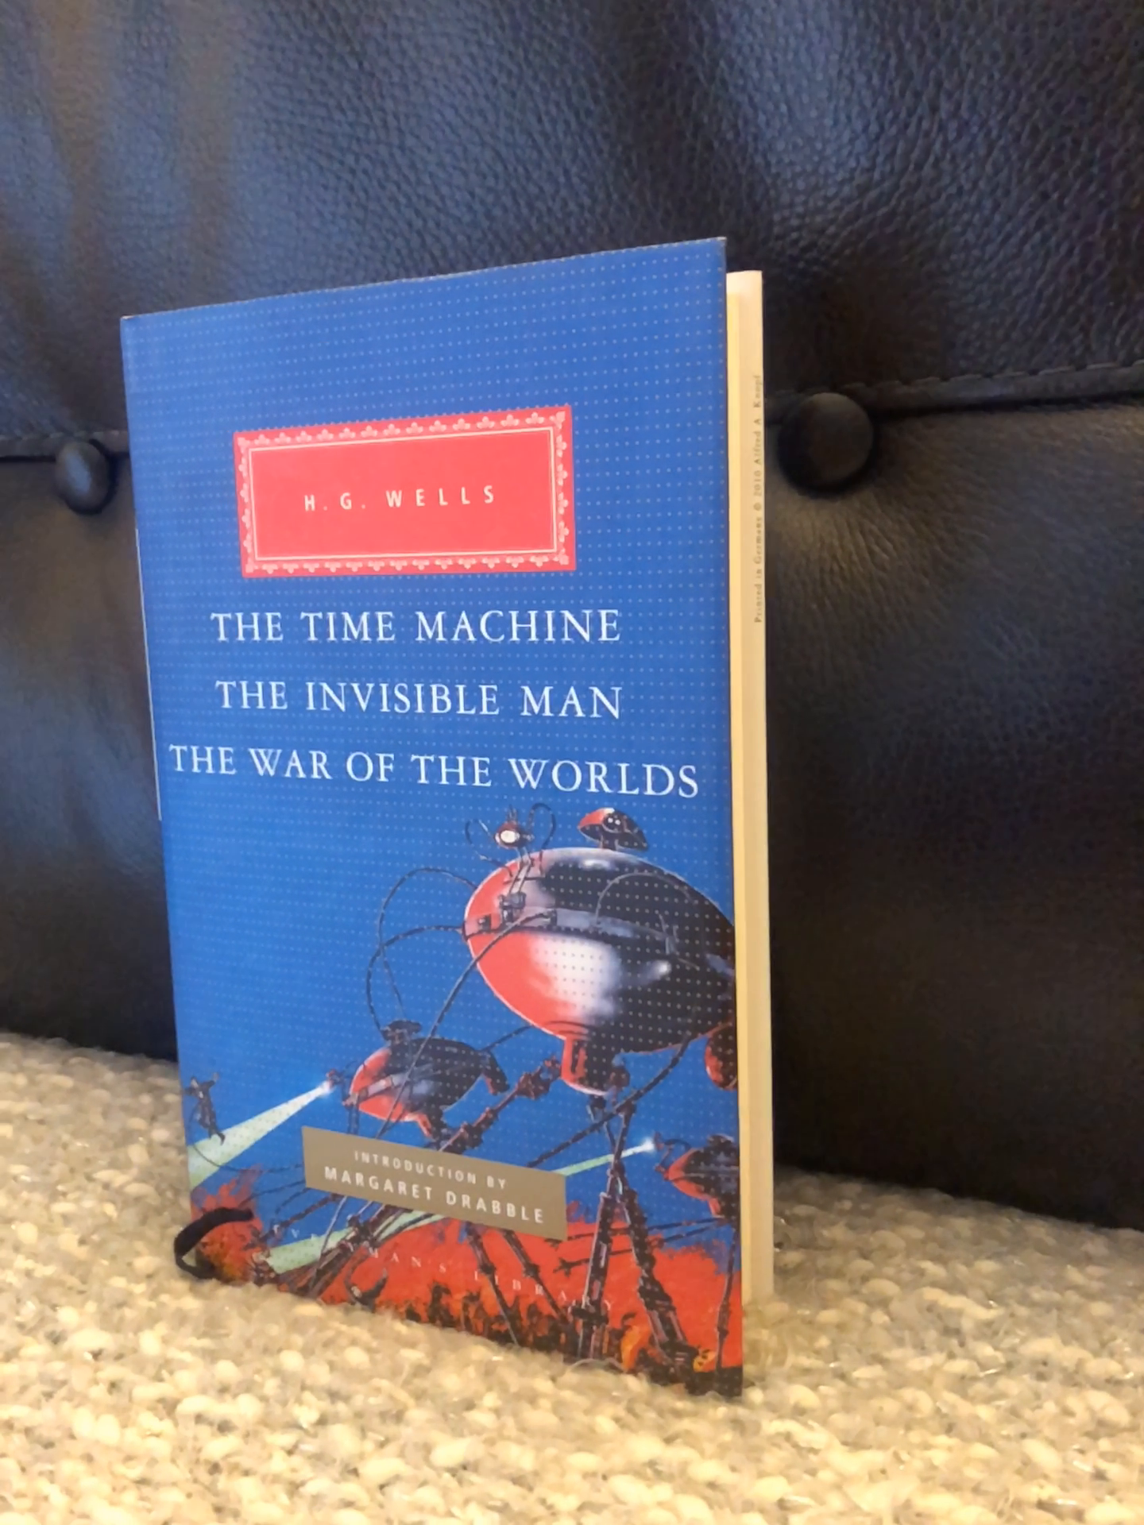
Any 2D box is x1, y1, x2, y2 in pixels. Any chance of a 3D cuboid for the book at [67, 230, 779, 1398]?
[{"bbox_3d":[-0.032,0.013,0.285,0.148,0.225,0.034,1,9,22],"label":"book"}]
